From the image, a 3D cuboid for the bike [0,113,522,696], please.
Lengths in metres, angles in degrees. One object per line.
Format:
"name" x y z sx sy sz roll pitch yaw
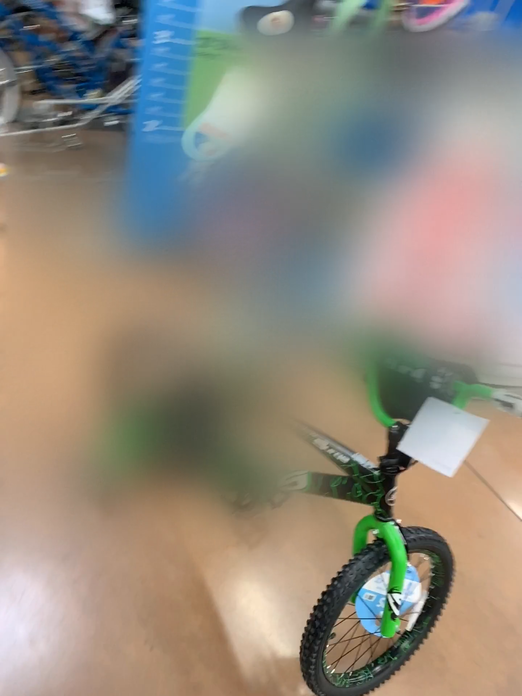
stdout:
"bike" 0.071 0.120 1.289 1.051 0.914 0.638 31 40 15
